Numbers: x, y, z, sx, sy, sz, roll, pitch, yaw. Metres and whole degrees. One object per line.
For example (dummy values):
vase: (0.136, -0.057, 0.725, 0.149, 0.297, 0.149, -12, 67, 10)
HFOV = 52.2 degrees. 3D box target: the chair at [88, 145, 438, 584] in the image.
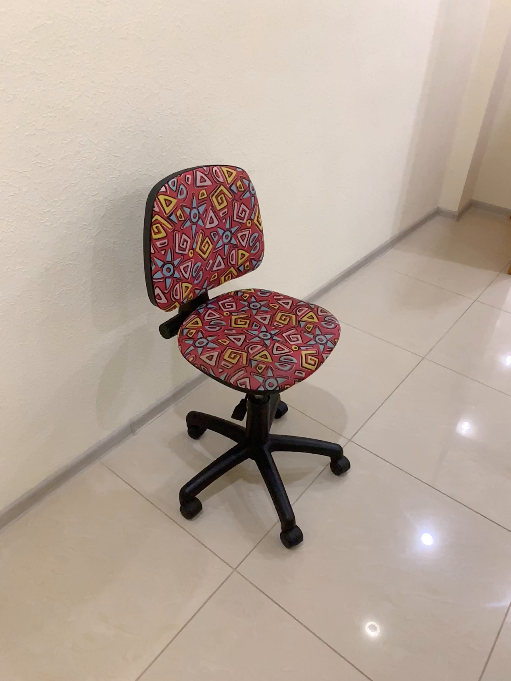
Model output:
chair: (0.016, 0.043, 1.397, 0.541, 0.885, 0.552, 26, 42, 28)
